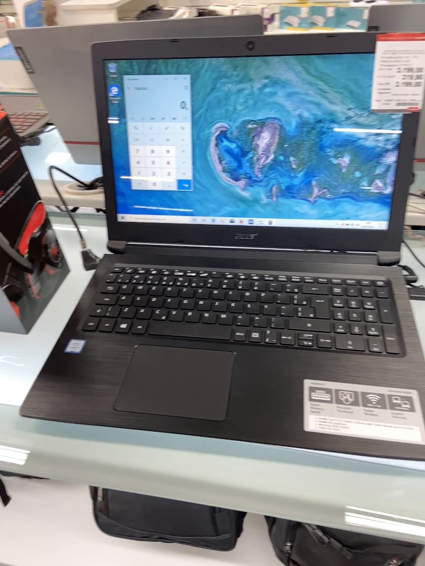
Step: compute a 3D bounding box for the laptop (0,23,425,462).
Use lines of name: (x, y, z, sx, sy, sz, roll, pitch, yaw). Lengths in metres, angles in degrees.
laptop: (0.022, -0.071, 0.428, 0.375, 0.227, 0.354, 3, 43, 10)
